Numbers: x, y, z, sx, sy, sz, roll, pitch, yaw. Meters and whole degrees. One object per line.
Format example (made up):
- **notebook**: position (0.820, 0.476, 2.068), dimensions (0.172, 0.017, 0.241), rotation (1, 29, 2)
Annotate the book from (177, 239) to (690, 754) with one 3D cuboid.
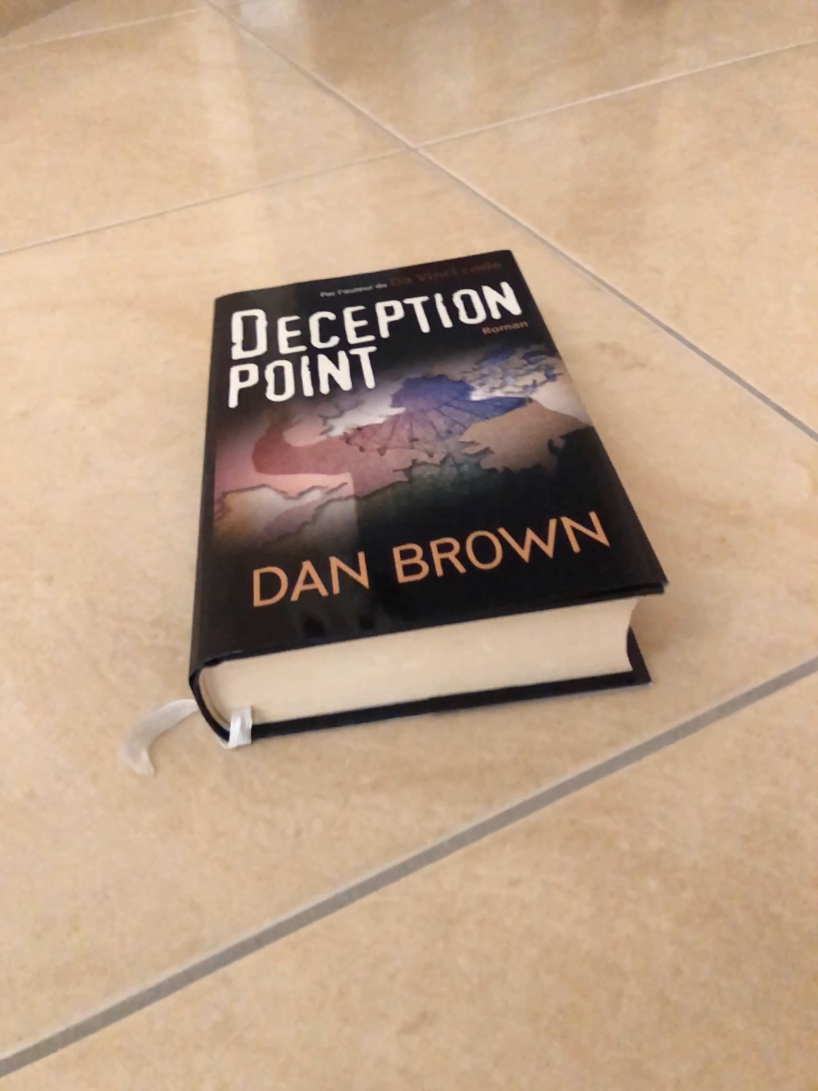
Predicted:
- **book**: position (-0.003, -0.036, 0.326), dimensions (0.136, 0.037, 0.213), rotation (-10, 43, 0)
